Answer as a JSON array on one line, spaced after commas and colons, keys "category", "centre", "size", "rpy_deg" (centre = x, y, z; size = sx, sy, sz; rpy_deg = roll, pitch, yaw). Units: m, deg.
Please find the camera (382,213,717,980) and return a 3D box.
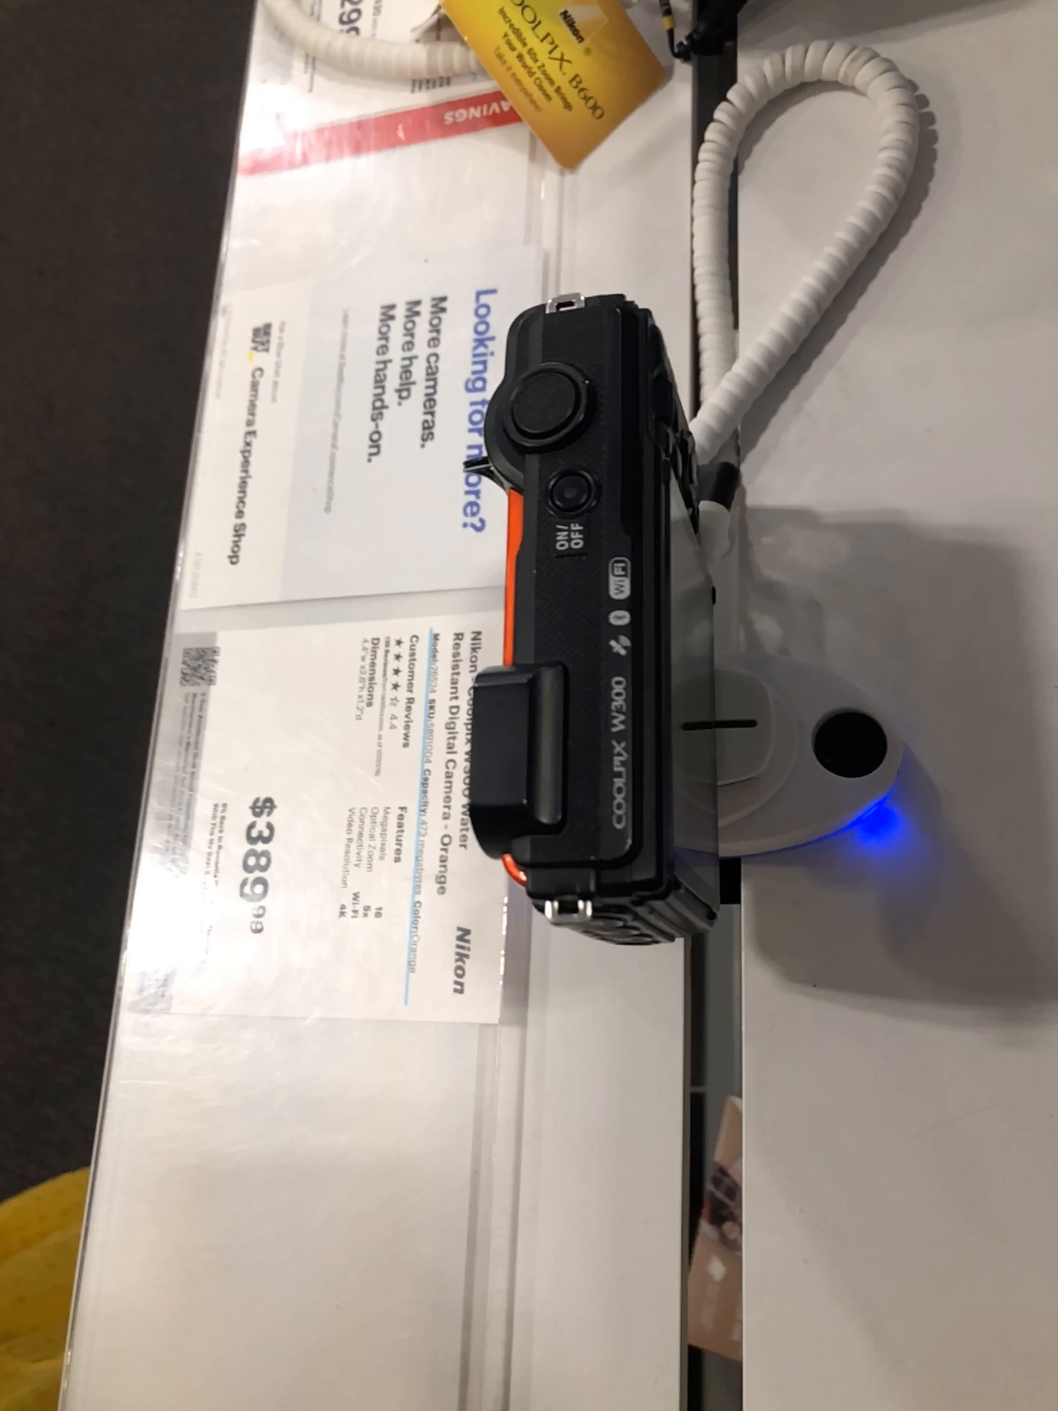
[{"category": "camera", "centre": [0.008, -0.015, 0.212], "size": [0.040, 0.060, 0.120], "rpy_deg": [-4, 72, 16]}]
